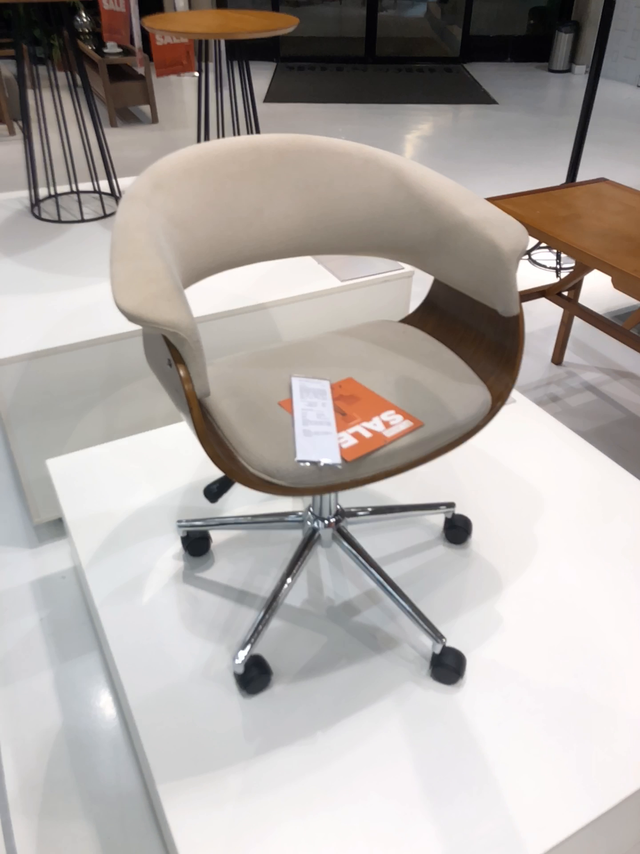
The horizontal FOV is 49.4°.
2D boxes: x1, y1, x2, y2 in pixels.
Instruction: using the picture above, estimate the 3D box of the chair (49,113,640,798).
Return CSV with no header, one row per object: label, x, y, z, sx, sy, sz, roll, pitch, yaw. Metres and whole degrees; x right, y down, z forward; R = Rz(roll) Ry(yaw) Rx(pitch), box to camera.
chair,0.029,-0.027,1.146,0.631,0.725,0.674,-18,40,-23
